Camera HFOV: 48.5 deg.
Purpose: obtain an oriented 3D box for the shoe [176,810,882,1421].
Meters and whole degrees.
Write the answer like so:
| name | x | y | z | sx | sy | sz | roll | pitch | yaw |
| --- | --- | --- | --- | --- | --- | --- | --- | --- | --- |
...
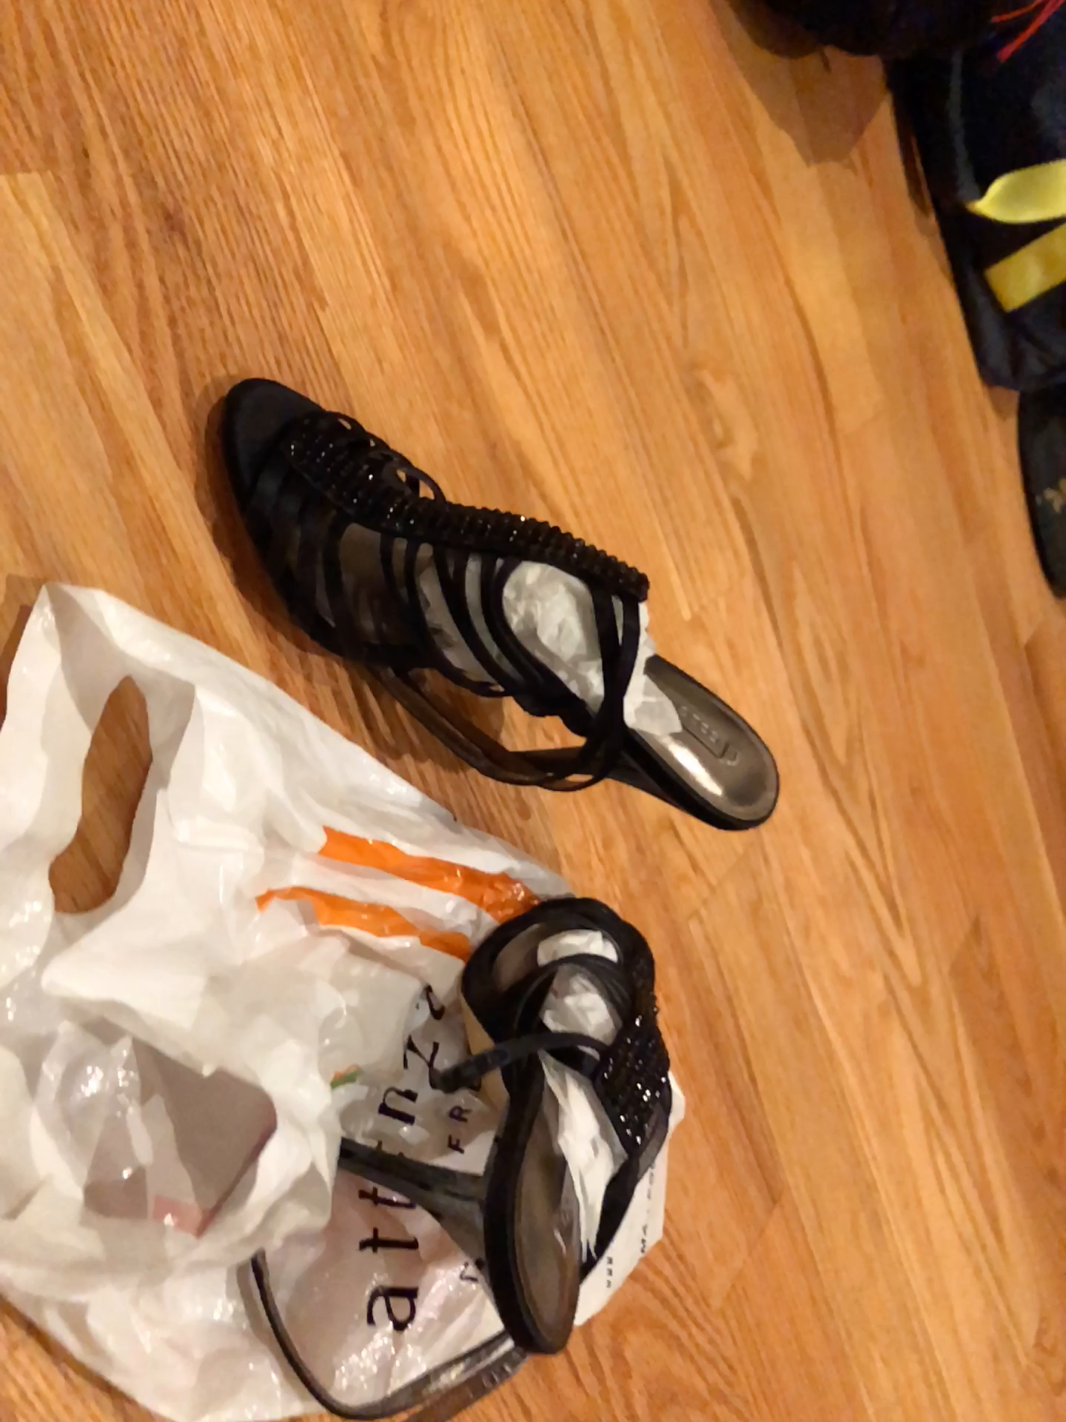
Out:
| name | x | y | z | sx | sy | sz | roll | pitch | yaw |
| --- | --- | --- | --- | --- | --- | --- | --- | --- | --- |
| shoe | 0.015 | 0.122 | 0.397 | 0.218 | 0.112 | 0.092 | -30 | 106 | -50 |

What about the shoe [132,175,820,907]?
| name | x | y | z | sx | sy | sz | roll | pitch | yaw |
| --- | --- | --- | --- | --- | --- | --- | --- | --- | --- |
| shoe | -0.007 | -0.041 | 0.404 | 0.217 | 0.112 | 0.090 | 56 | 45 | -28 |
